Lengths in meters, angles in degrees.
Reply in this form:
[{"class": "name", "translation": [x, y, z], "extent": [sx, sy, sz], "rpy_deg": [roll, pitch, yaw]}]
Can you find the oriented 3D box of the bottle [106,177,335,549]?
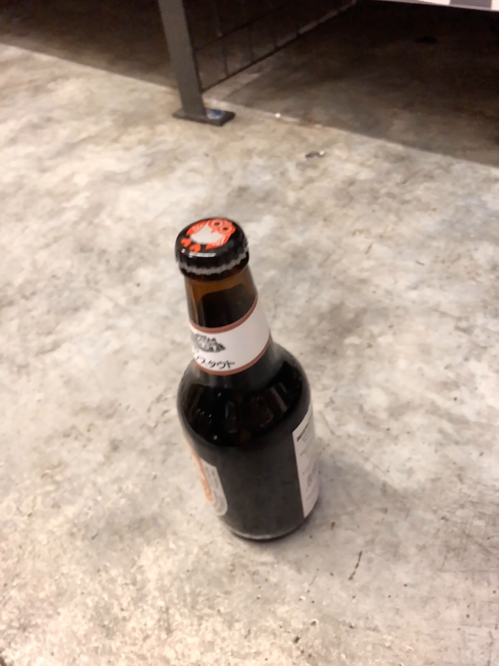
[{"class": "bottle", "translation": [-0.001, 0.028, 0.266], "extent": [0.069, 0.181, 0.063], "rpy_deg": [-6, 44, 6]}]
